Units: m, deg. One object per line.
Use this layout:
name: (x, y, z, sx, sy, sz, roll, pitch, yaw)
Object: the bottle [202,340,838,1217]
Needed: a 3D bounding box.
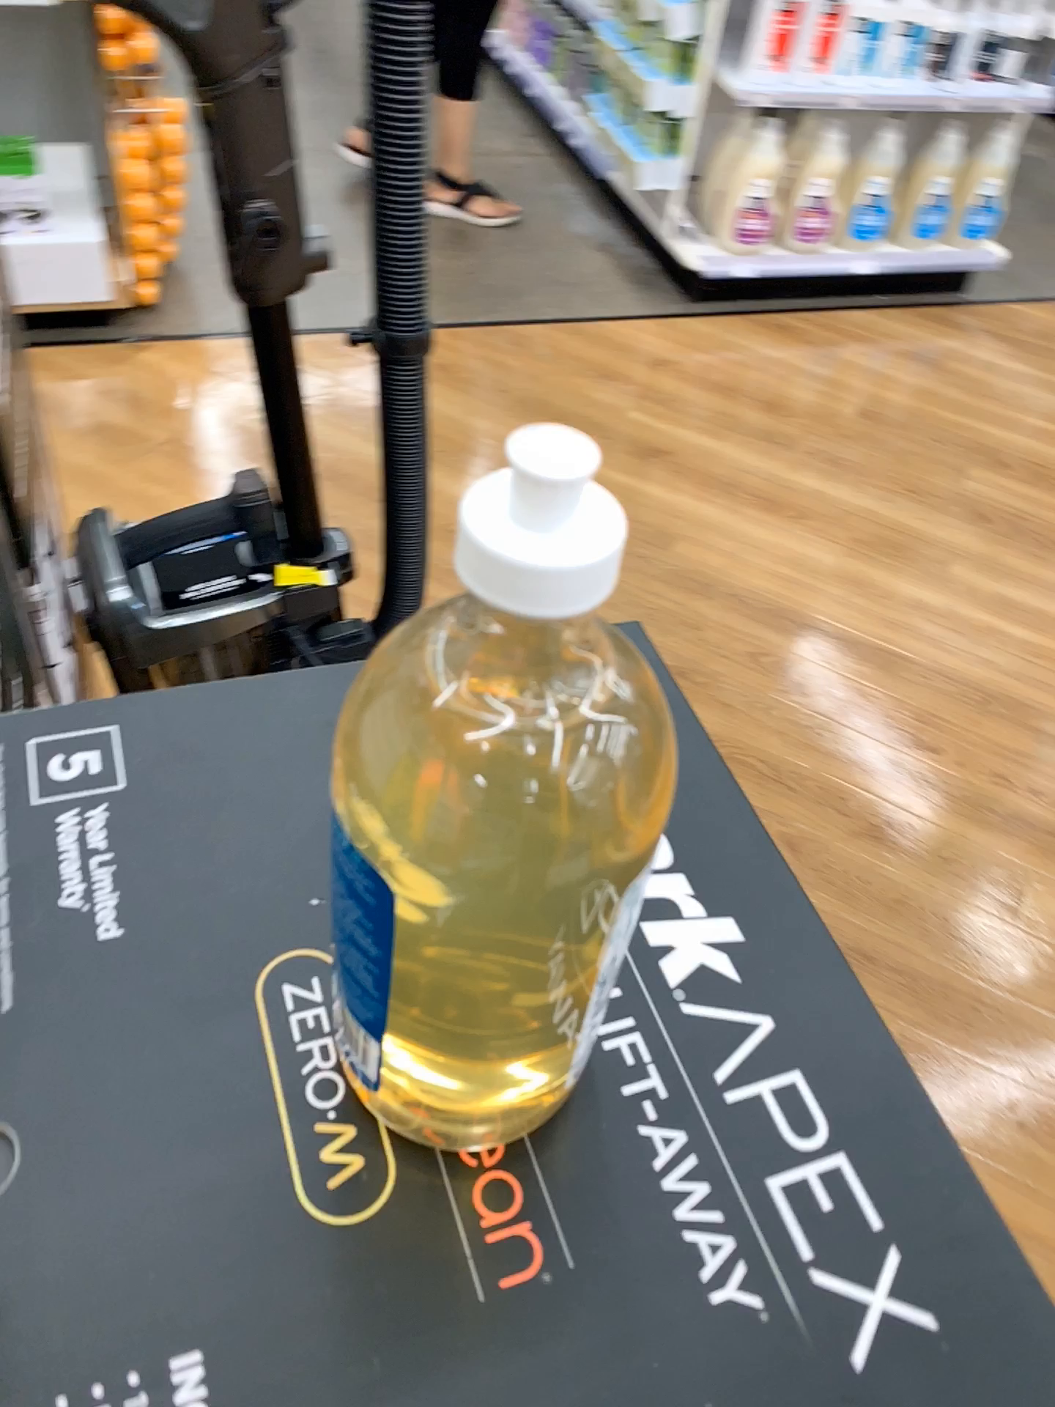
bottle: (-0.016, 0.036, 0.257, 0.090, 0.209, 0.090, 5, 46, -5)
